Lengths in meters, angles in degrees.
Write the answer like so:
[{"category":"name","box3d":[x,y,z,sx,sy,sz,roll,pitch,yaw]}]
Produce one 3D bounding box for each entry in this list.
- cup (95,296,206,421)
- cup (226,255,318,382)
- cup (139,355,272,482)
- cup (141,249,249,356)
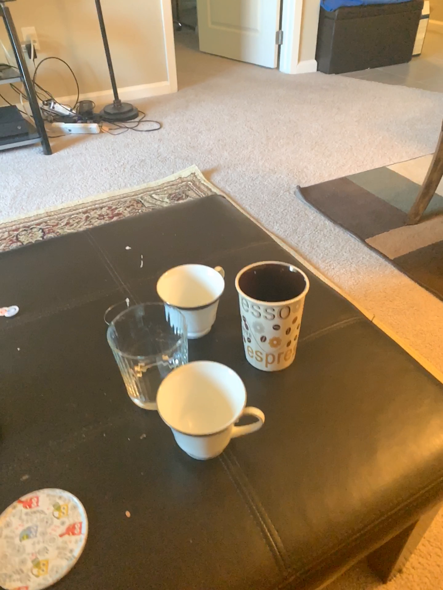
[{"category":"cup","box3d":[-0.079,0.076,0.555,0.100,0.099,0.101,-1,40,1]},{"category":"cup","box3d":[0.063,0.028,0.565,0.100,0.109,0.101,-1,40,1]},{"category":"cup","box3d":[-0.012,0.128,0.481,0.120,0.060,0.101,5,40,8]},{"category":"cup","box3d":[-0.033,0.006,0.617,0.090,0.070,0.110,31,50,33]}]
